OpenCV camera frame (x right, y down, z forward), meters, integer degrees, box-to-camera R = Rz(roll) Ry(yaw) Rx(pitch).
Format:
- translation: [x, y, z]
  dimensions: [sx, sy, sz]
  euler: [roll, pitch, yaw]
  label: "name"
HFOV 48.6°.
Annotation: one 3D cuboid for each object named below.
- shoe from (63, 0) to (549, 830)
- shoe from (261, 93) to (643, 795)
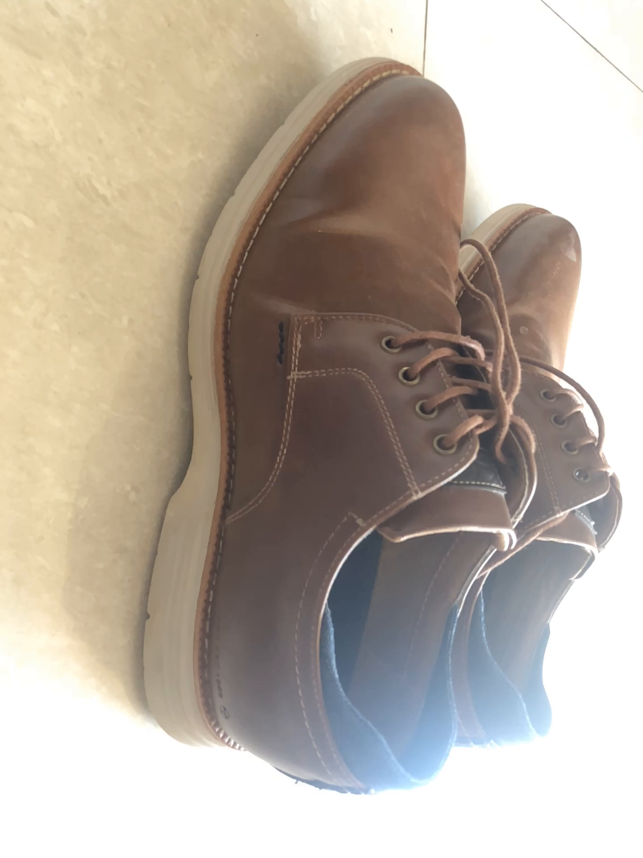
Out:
- translation: [0.001, -0.026, 0.296]
  dimensions: [0.100, 0.099, 0.310]
  euler: [19, 79, -44]
  label: "shoe"
- translation: [0.090, 0.000, 0.363]
  dimensions: [0.100, 0.099, 0.310]
  euler: [34, 69, -41]
  label: "shoe"
